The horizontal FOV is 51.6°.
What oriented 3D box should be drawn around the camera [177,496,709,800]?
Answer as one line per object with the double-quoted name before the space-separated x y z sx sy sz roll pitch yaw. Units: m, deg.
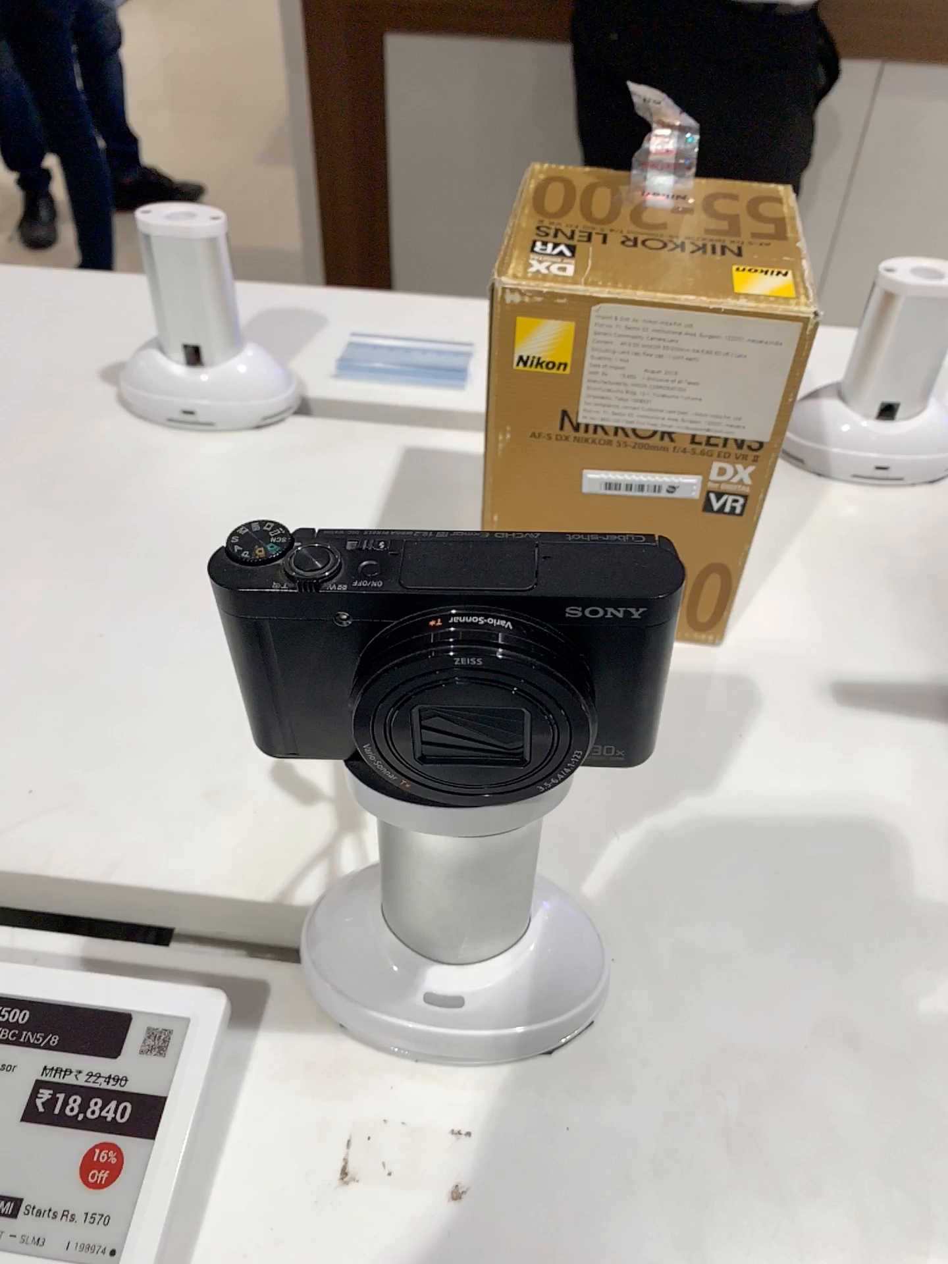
"camera" -0.006 0.005 0.216 0.100 0.060 0.030 2 45 1
